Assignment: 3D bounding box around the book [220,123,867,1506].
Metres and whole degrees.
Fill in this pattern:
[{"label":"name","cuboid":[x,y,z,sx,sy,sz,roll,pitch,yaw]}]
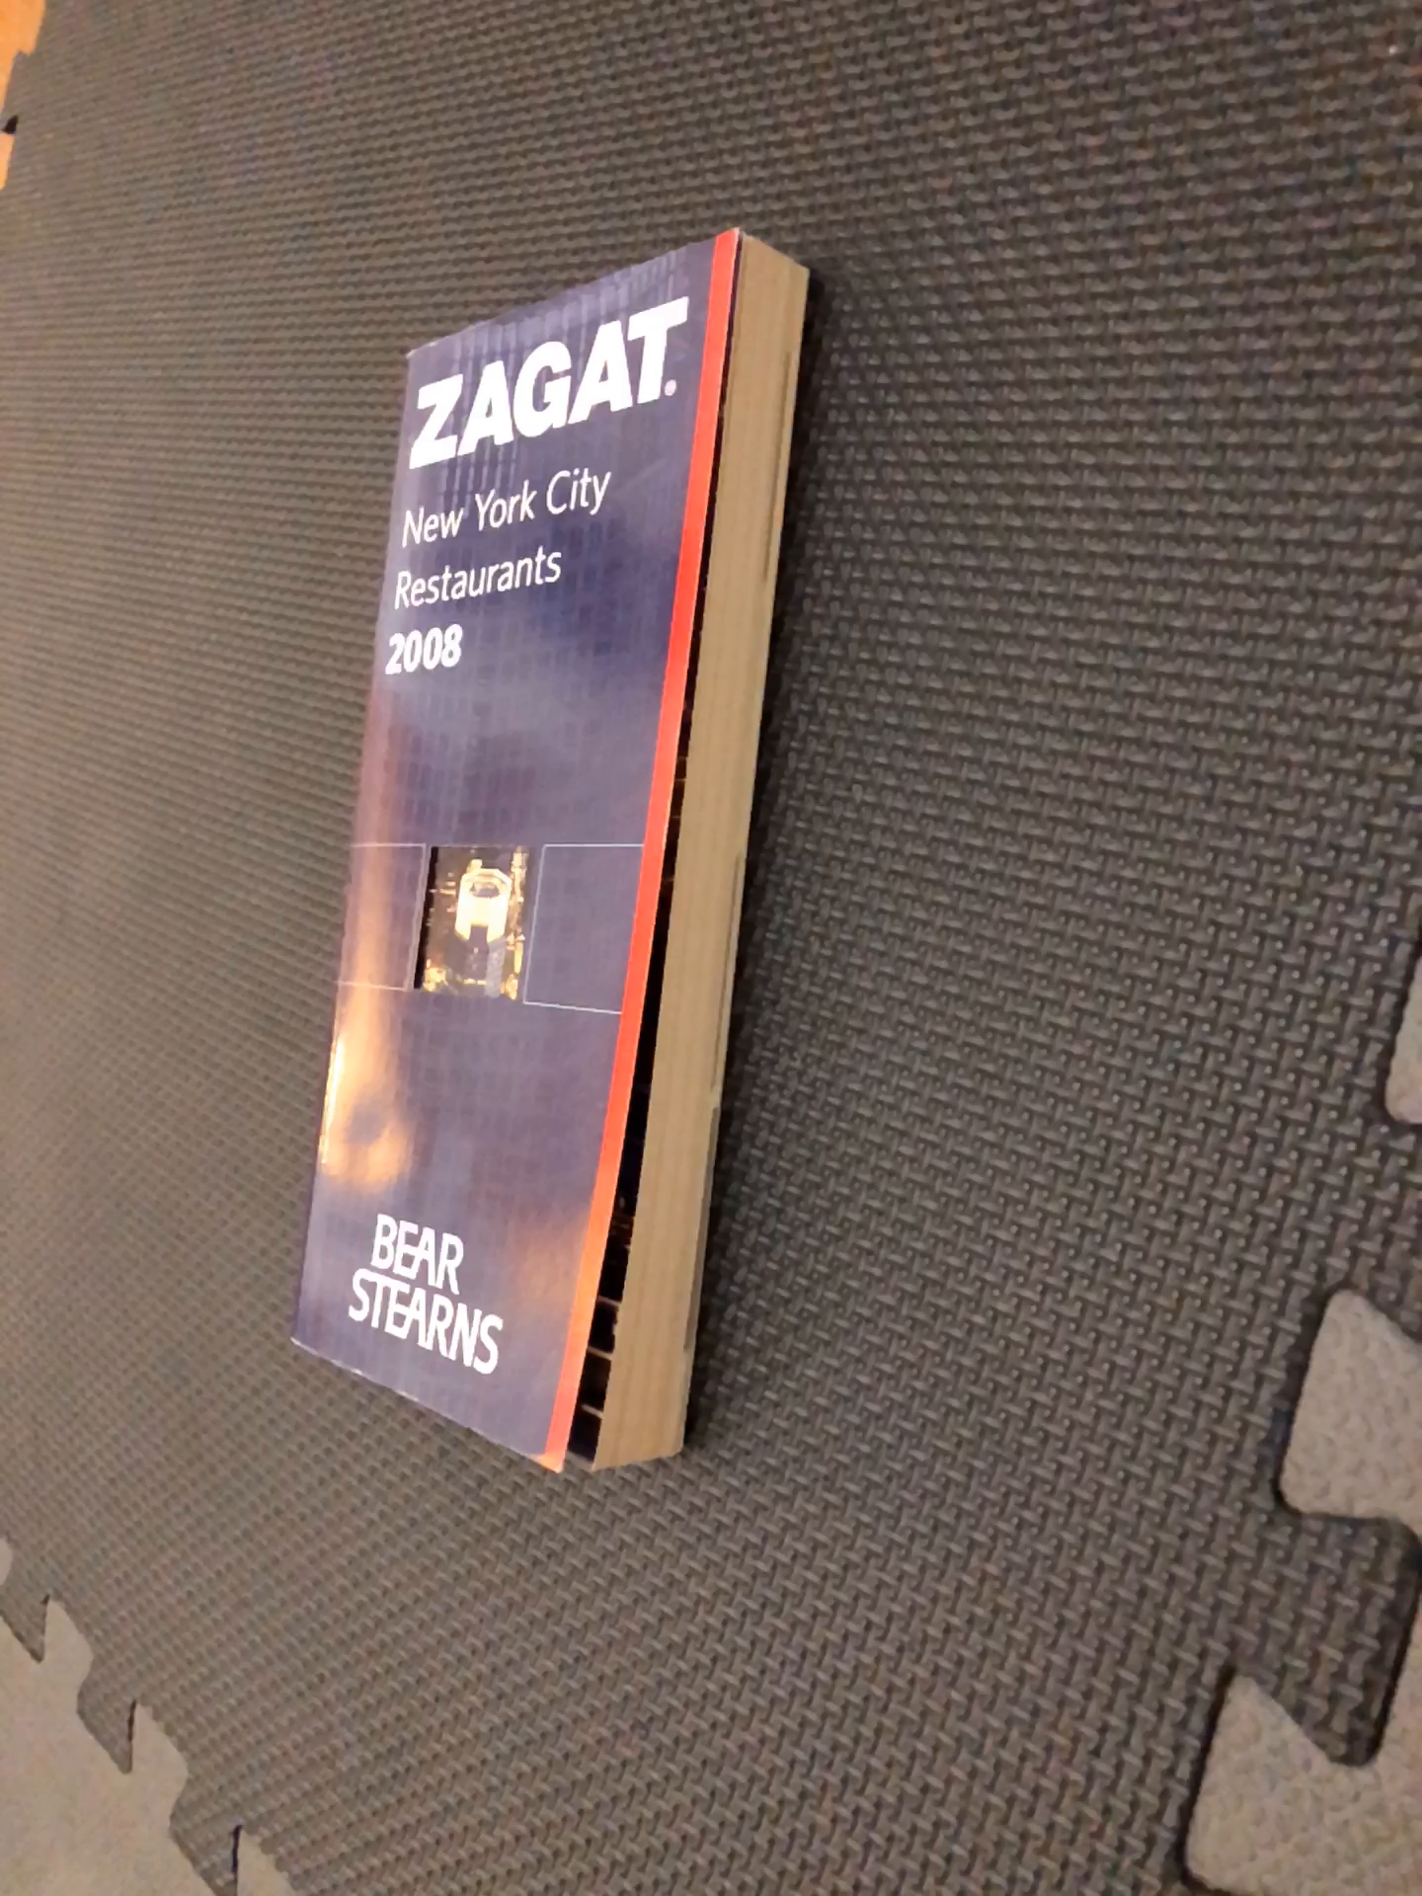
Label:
[{"label":"book","cuboid":[-0.037,-0.024,0.301,0.121,0.030,0.220,3,86,44]}]
